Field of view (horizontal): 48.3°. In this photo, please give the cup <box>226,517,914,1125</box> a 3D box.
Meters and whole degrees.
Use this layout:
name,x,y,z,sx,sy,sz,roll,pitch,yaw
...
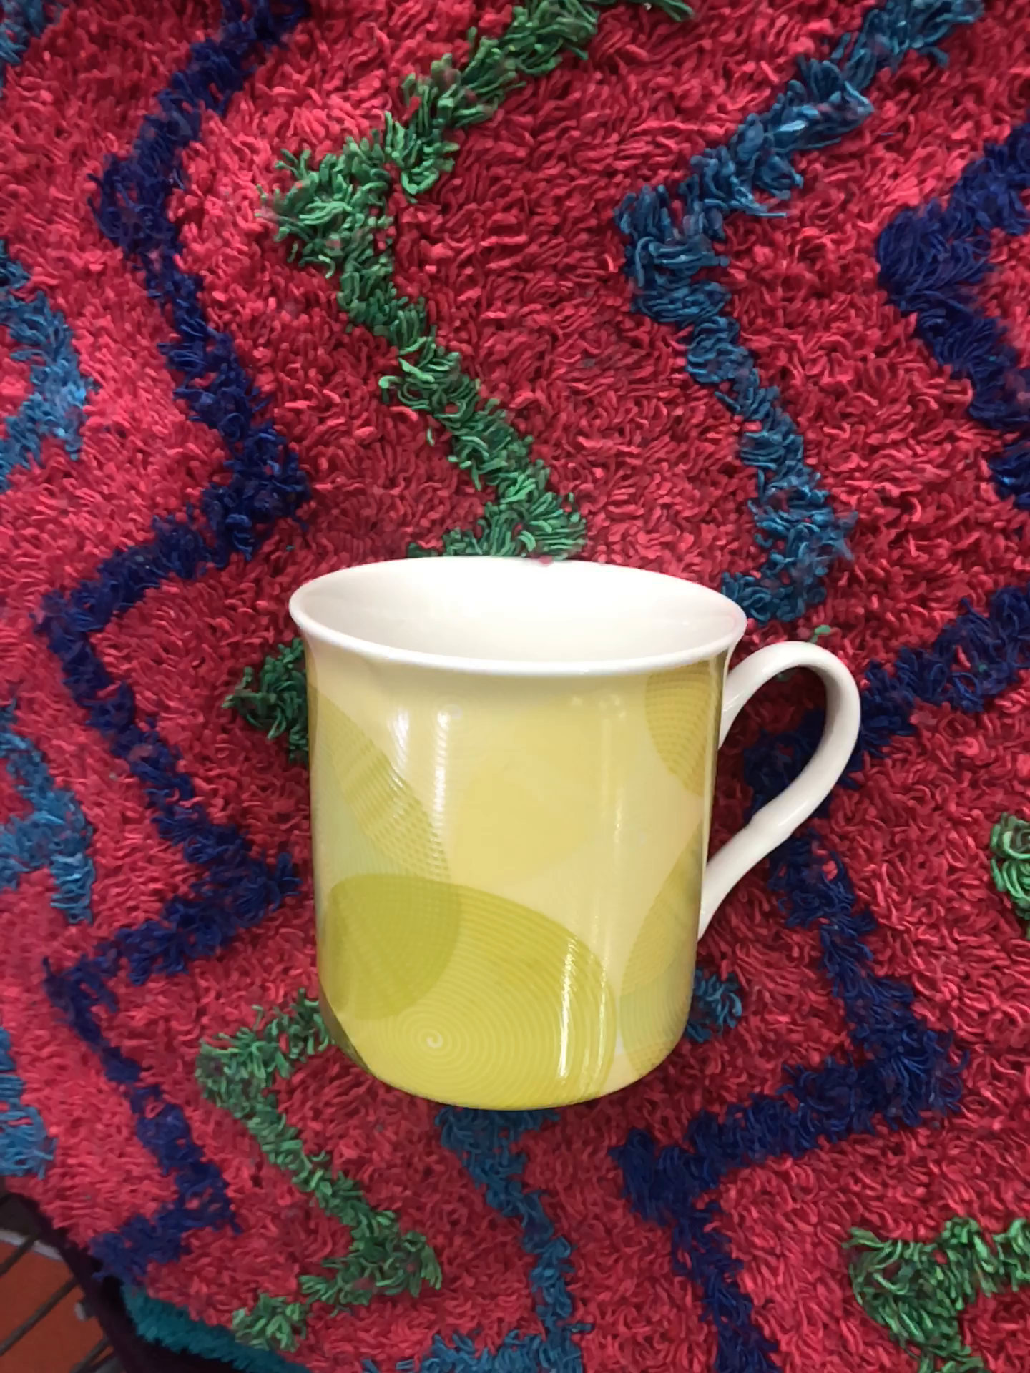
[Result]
name,x,y,z,sx,sy,sz,roll,pitch,yaw
cup,0.005,0.019,0.231,0.110,0.080,0.090,-3,108,-8
